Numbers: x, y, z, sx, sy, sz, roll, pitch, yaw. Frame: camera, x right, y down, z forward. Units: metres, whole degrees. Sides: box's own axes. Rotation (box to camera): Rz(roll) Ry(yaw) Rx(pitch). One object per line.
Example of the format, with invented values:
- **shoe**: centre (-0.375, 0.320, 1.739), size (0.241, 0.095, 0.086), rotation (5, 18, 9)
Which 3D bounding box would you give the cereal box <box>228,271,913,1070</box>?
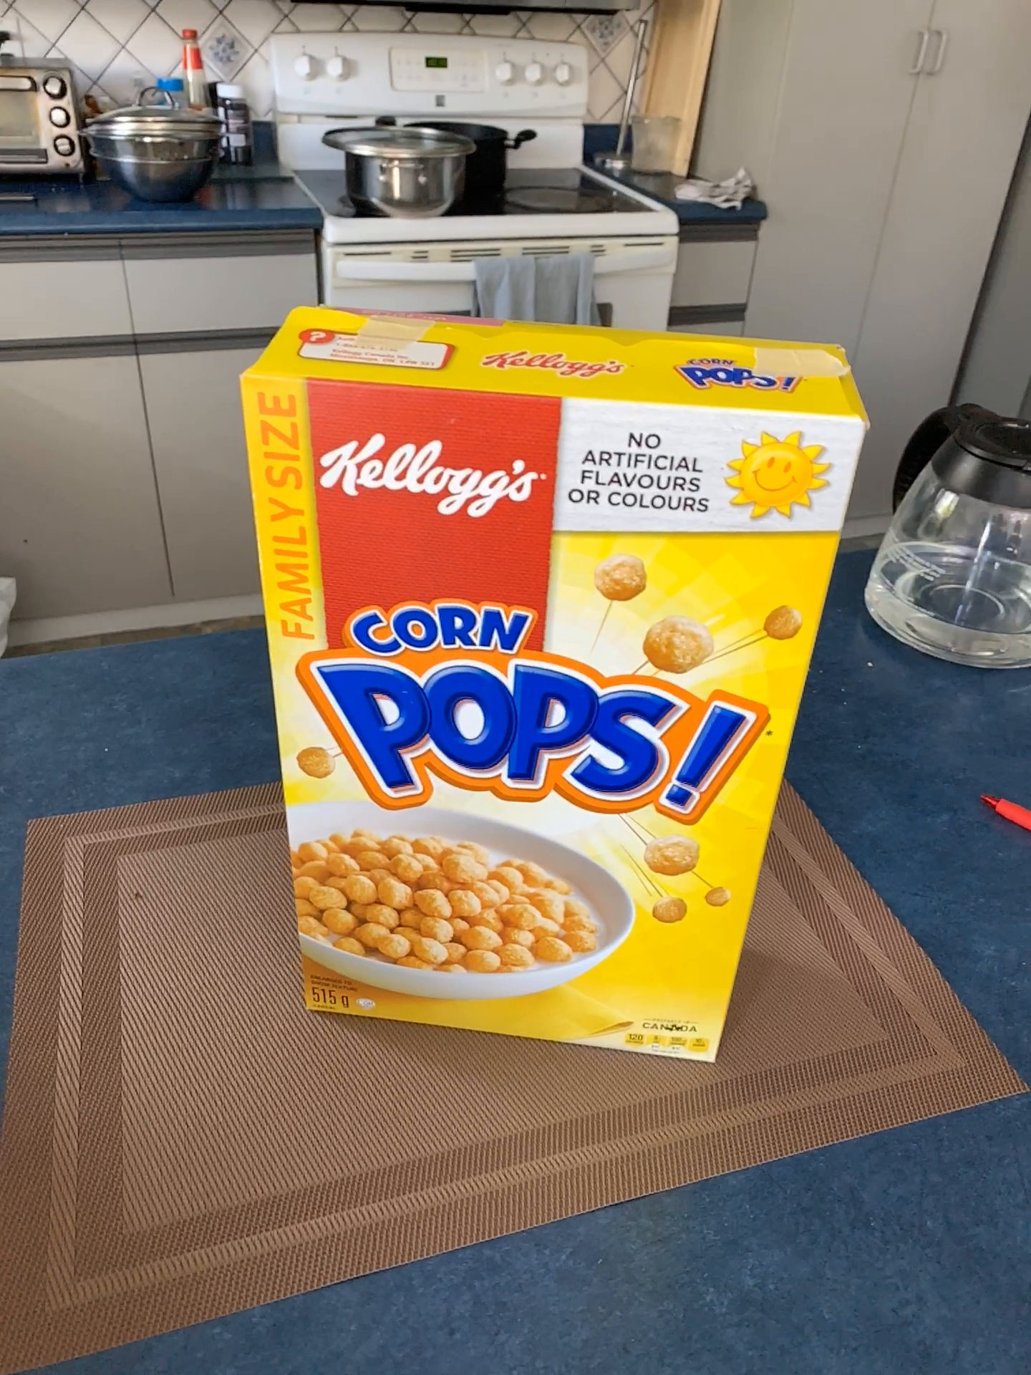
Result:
- **cereal box**: centre (0.012, 0.009, 0.448), size (0.210, 0.317, 0.091), rotation (6, 34, 5)
